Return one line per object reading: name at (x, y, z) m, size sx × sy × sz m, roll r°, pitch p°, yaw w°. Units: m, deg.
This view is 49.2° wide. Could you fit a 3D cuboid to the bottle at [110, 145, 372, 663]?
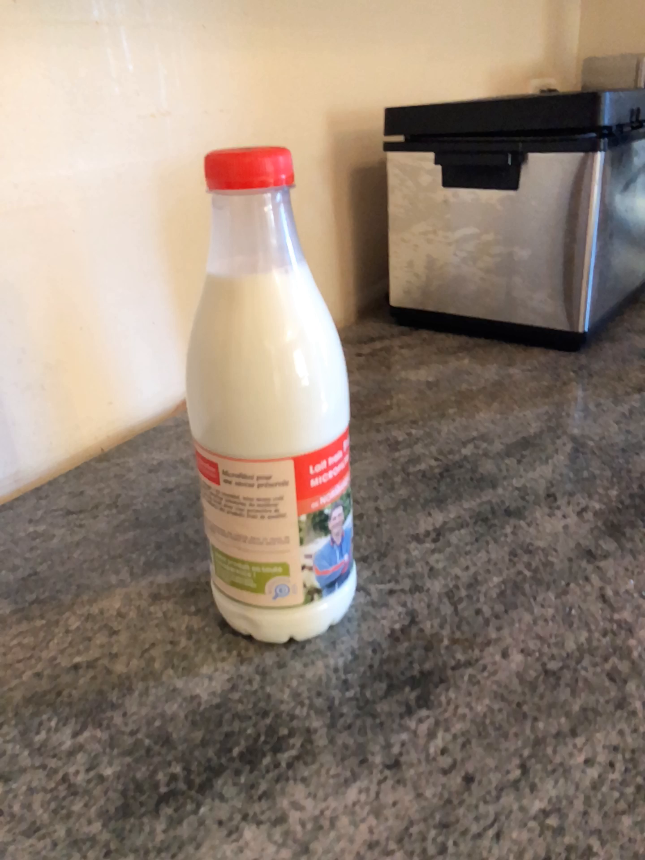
bottle at (-0.029, -0.012, 0.373) m, size 0.080 × 0.249 × 0.091 m, roll 5°, pitch 26°, yaw 19°
